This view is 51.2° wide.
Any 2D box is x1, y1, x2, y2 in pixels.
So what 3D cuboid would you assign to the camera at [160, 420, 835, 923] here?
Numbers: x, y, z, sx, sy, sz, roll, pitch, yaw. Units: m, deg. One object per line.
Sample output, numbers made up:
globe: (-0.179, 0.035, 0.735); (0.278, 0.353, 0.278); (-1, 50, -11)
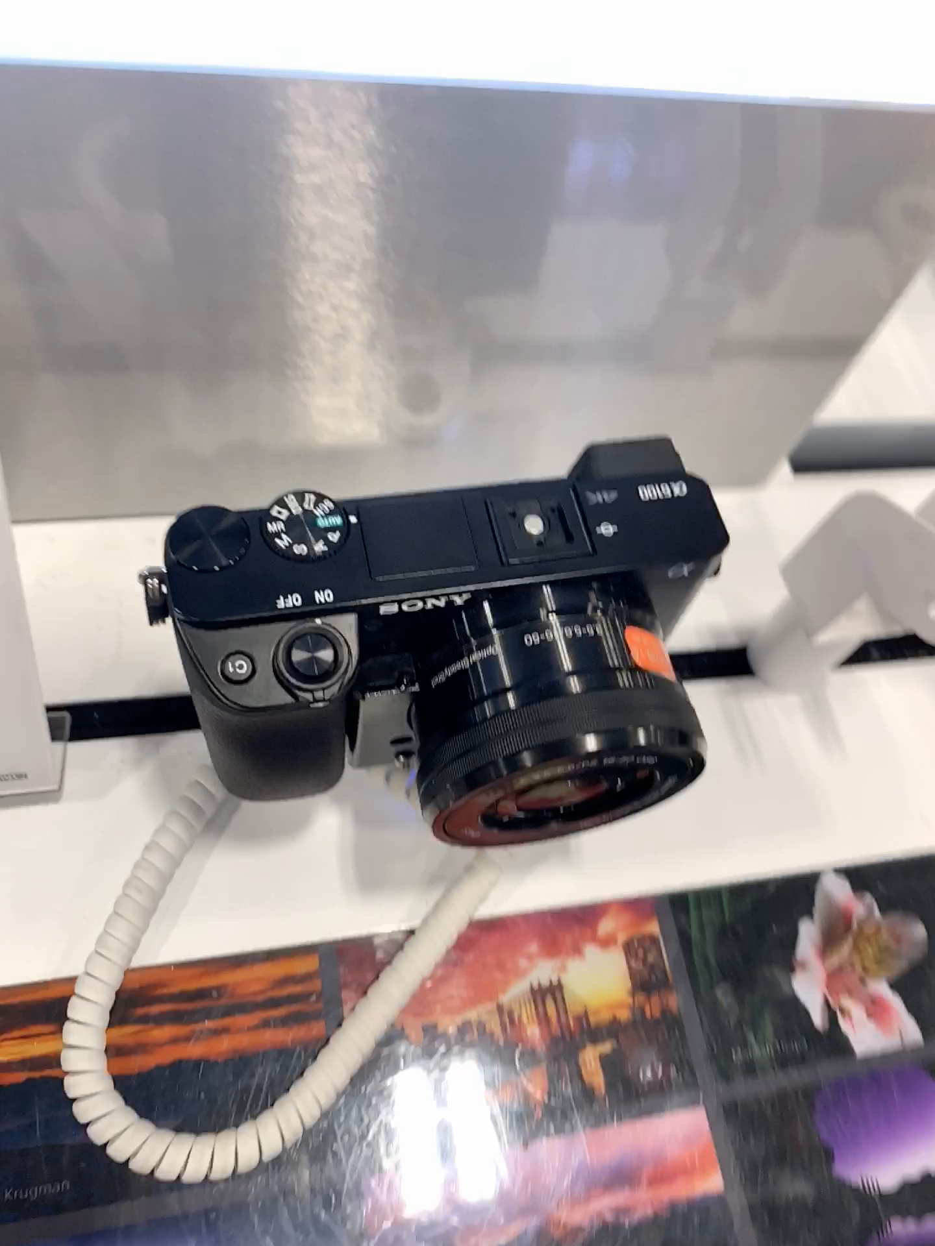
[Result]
camera: (0.001, 0.011, 0.224); (0.121, 0.070, 0.070); (-12, 66, -16)
